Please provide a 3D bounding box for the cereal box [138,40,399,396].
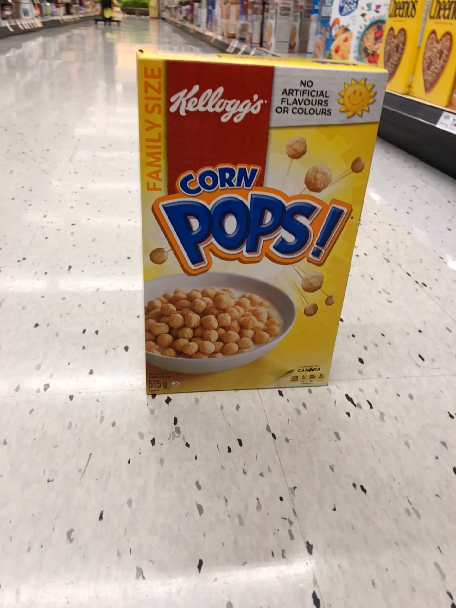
[{"bbox_3d":[0.017,-0.072,0.495,0.200,0.318,0.101,-1,30,-10],"label":"cereal box"}]
